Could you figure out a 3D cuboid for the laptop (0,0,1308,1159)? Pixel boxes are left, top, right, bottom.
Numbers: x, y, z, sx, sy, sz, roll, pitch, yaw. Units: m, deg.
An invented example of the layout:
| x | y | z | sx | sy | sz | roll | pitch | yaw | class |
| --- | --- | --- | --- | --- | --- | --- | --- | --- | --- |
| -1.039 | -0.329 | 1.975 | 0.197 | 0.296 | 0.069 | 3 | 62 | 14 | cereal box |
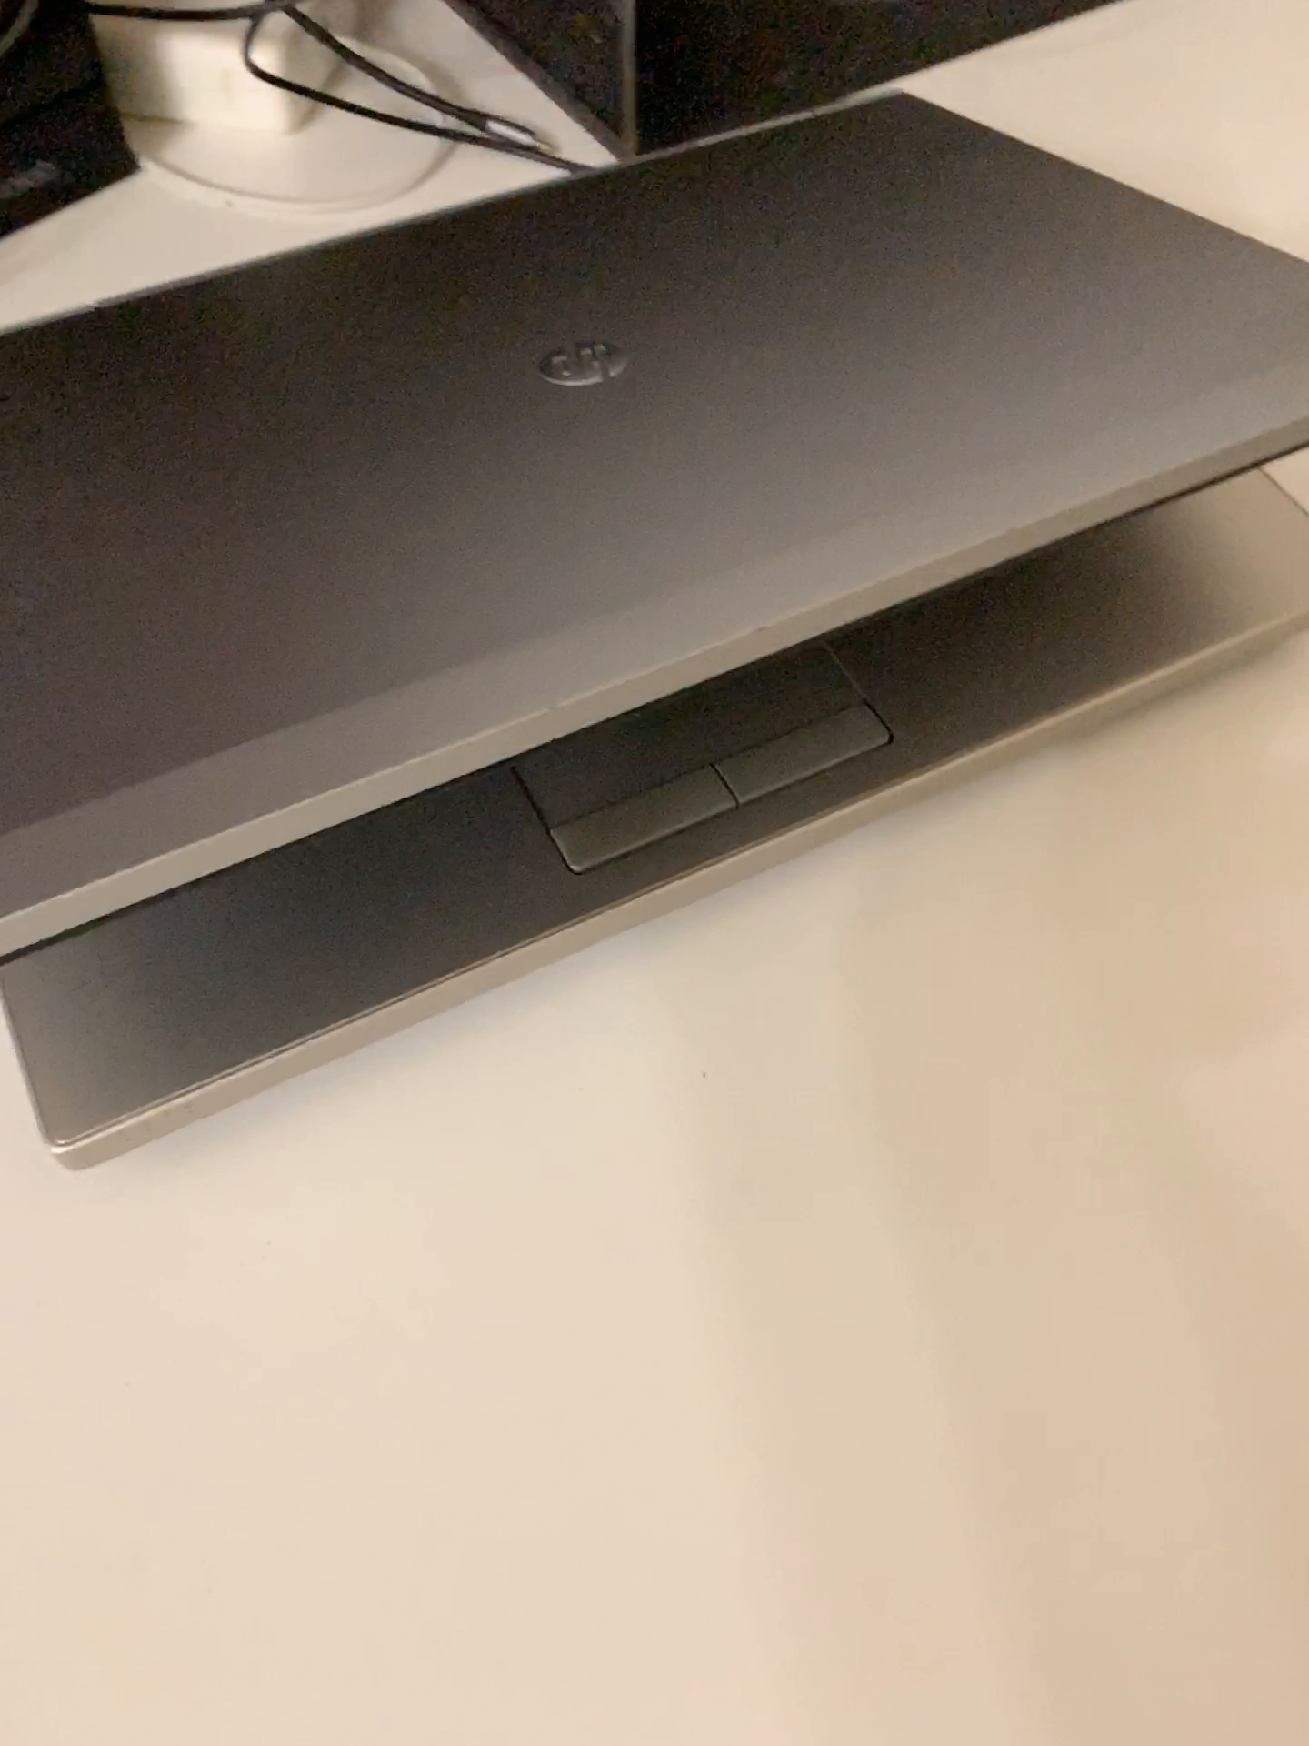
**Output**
| x | y | z | sx | sy | sz | roll | pitch | yaw | class |
| --- | --- | --- | --- | --- | --- | --- | --- | --- | --- |
| -0.014 | -0.101 | 0.297 | 0.304 | 0.042 | 0.200 | -23 | 65 | -16 | laptop |
